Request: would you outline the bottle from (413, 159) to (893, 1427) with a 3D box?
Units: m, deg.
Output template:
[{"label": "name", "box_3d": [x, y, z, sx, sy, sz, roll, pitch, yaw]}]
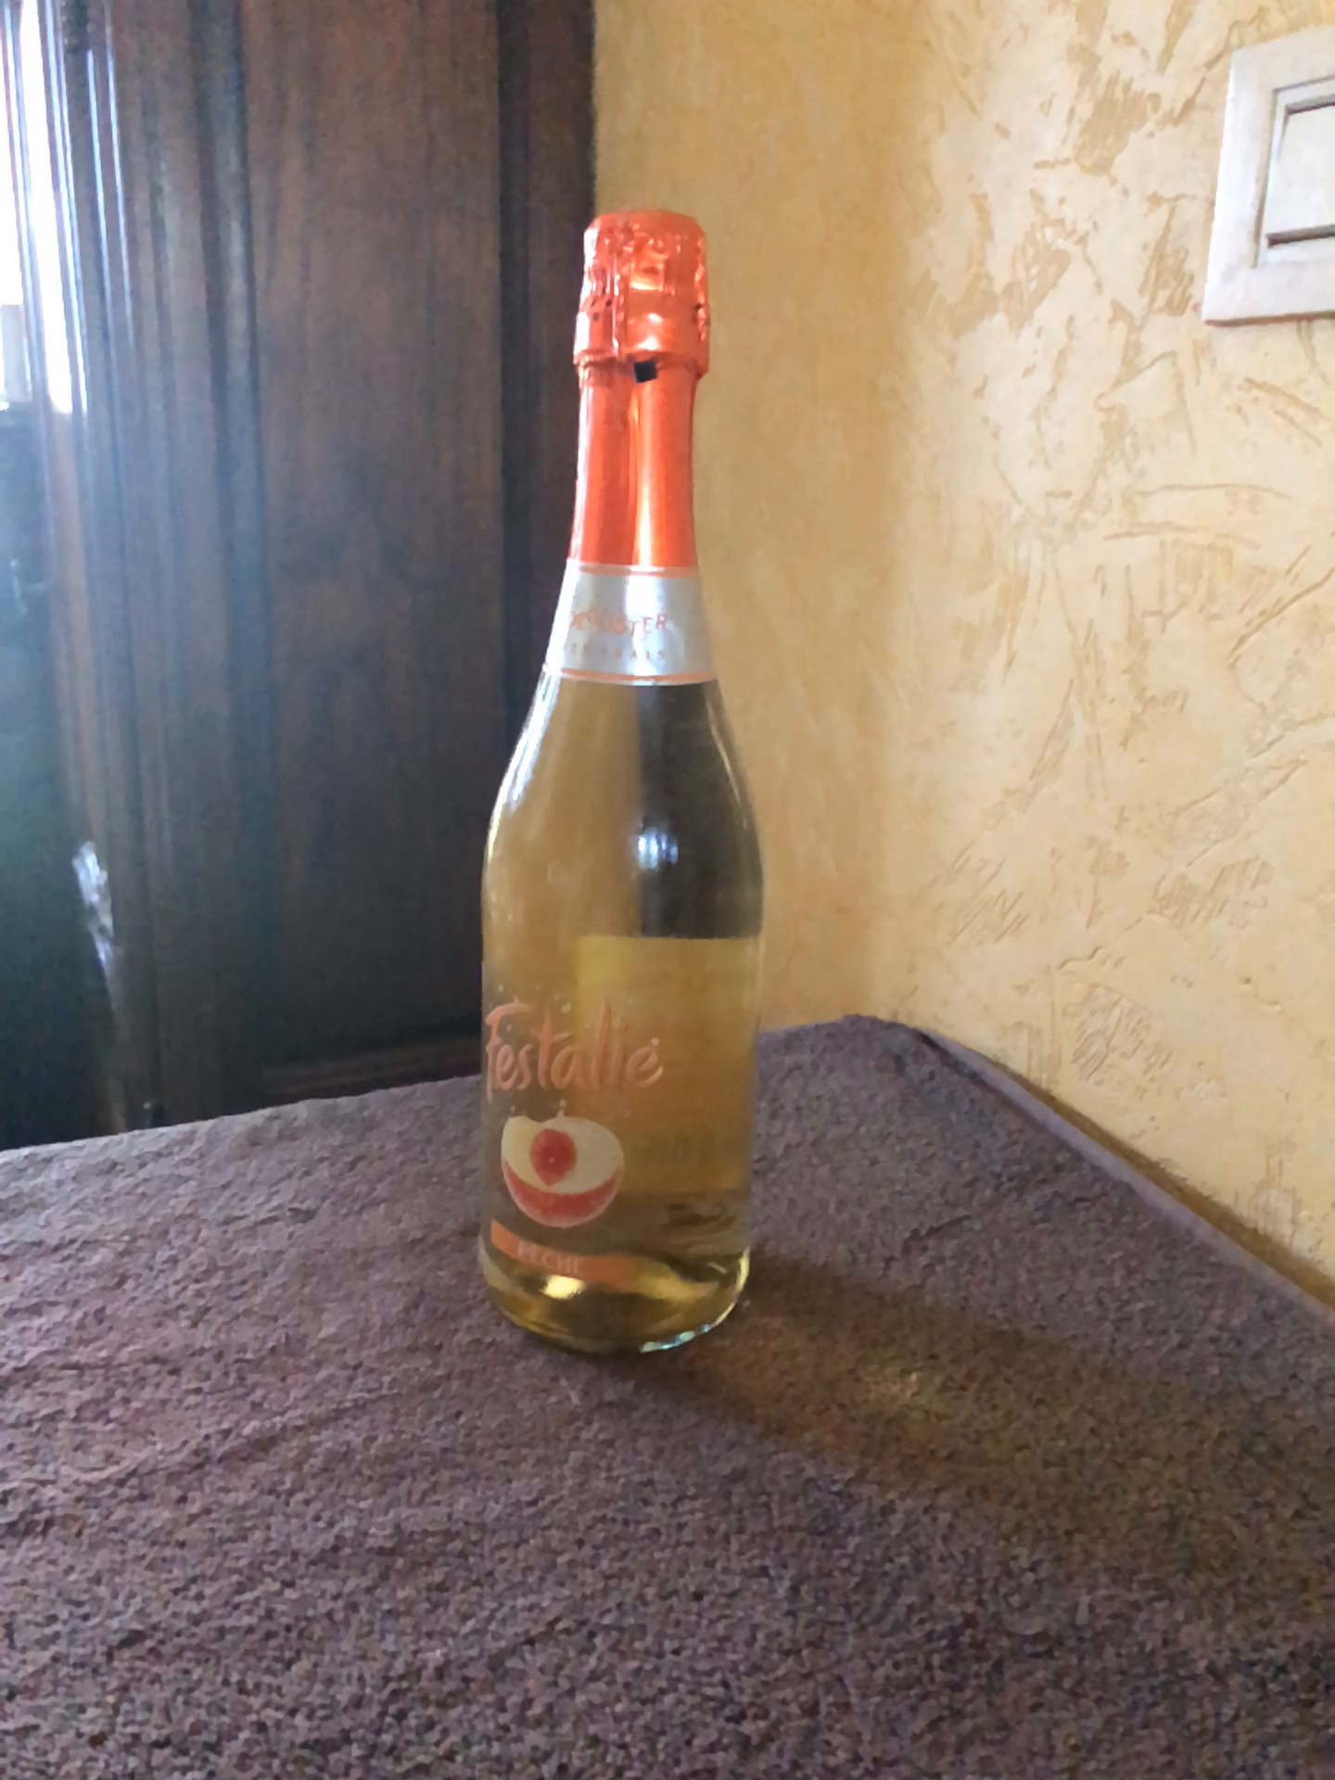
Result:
[{"label": "bottle", "box_3d": [-0.004, -0.023, 0.409, 0.090, 0.309, 0.090, 1, 15, 0]}]
